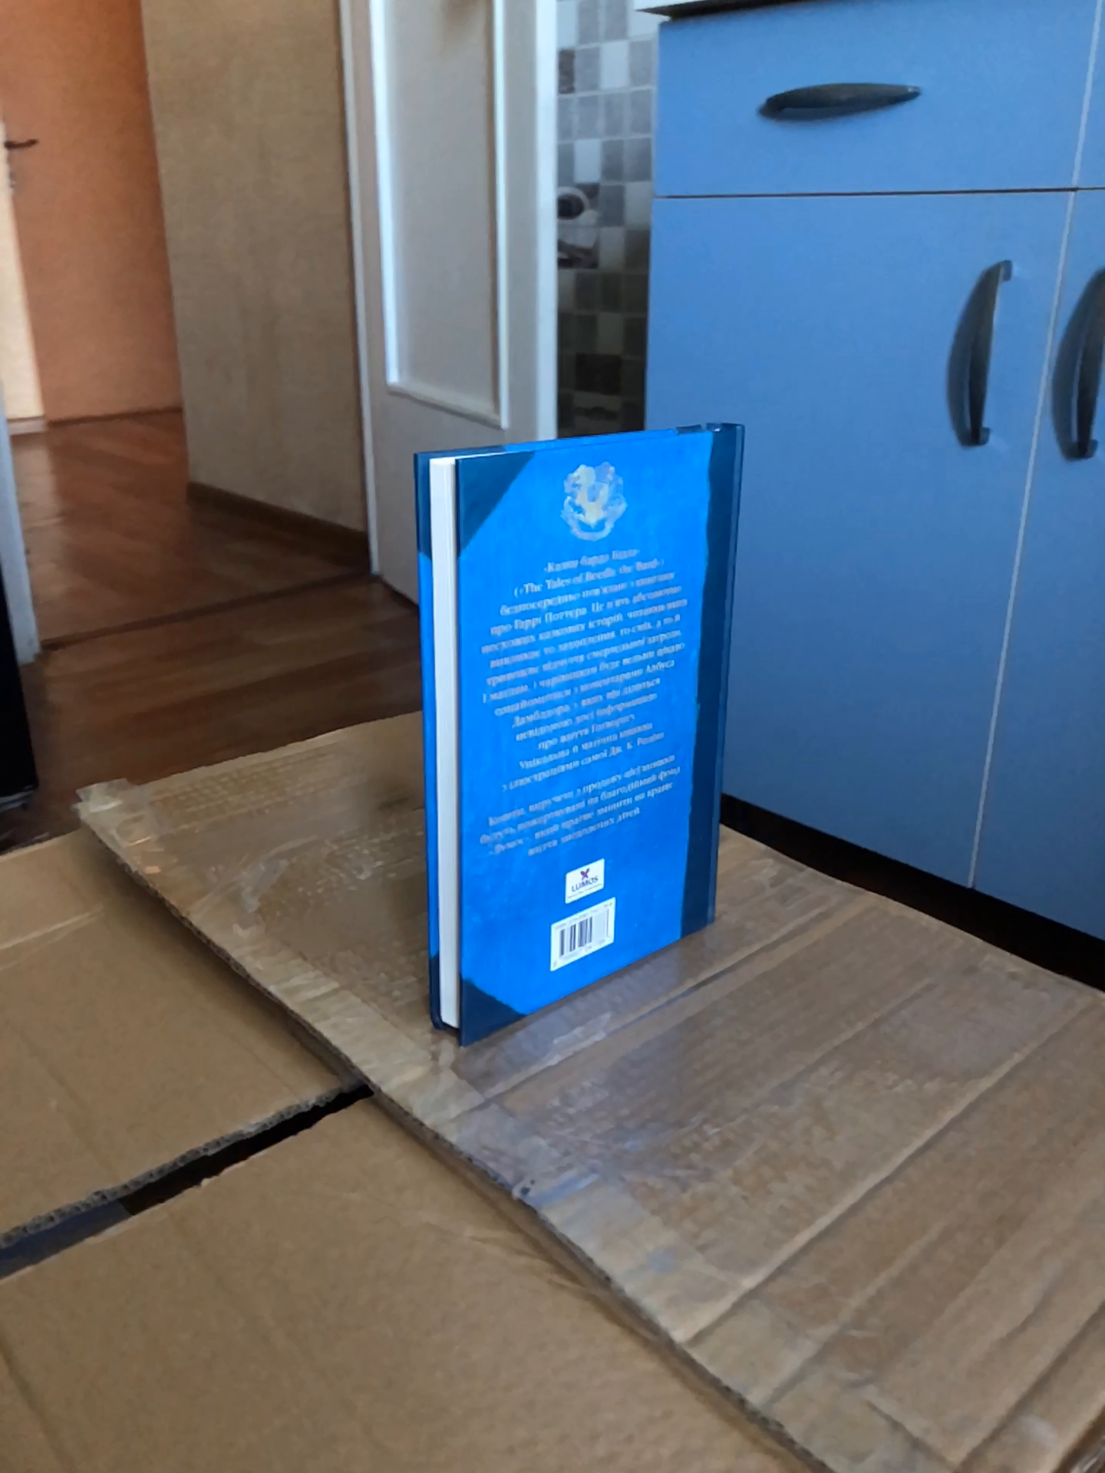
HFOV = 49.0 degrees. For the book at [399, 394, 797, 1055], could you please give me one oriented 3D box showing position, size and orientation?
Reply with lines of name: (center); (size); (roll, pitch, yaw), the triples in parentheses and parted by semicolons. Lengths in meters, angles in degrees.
book: (0.019, -0.009, 0.420); (0.144, 0.199, 0.030); (-18, 28, -38)
